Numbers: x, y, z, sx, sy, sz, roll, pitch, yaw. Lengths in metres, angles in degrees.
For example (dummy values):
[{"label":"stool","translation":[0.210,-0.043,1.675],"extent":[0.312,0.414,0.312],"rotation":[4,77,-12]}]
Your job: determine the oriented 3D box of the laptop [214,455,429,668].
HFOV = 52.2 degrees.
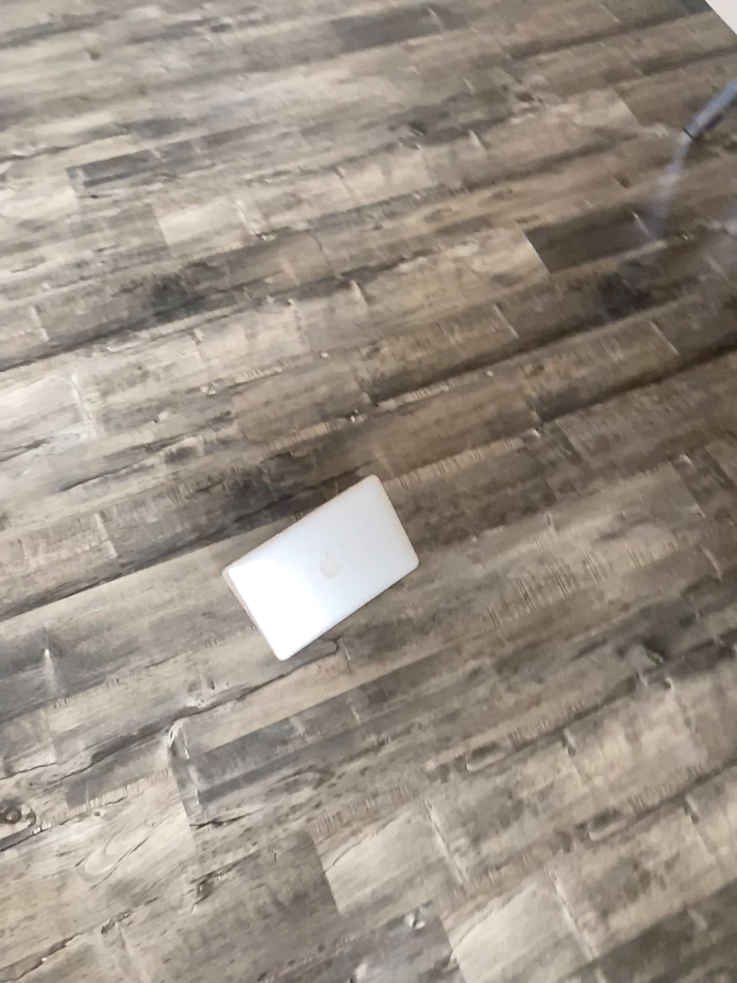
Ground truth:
[{"label":"laptop","translation":[-0.071,0.104,1.151],"extent":[0.270,0.113,0.173],"rotation":[-33,72,-17]}]
